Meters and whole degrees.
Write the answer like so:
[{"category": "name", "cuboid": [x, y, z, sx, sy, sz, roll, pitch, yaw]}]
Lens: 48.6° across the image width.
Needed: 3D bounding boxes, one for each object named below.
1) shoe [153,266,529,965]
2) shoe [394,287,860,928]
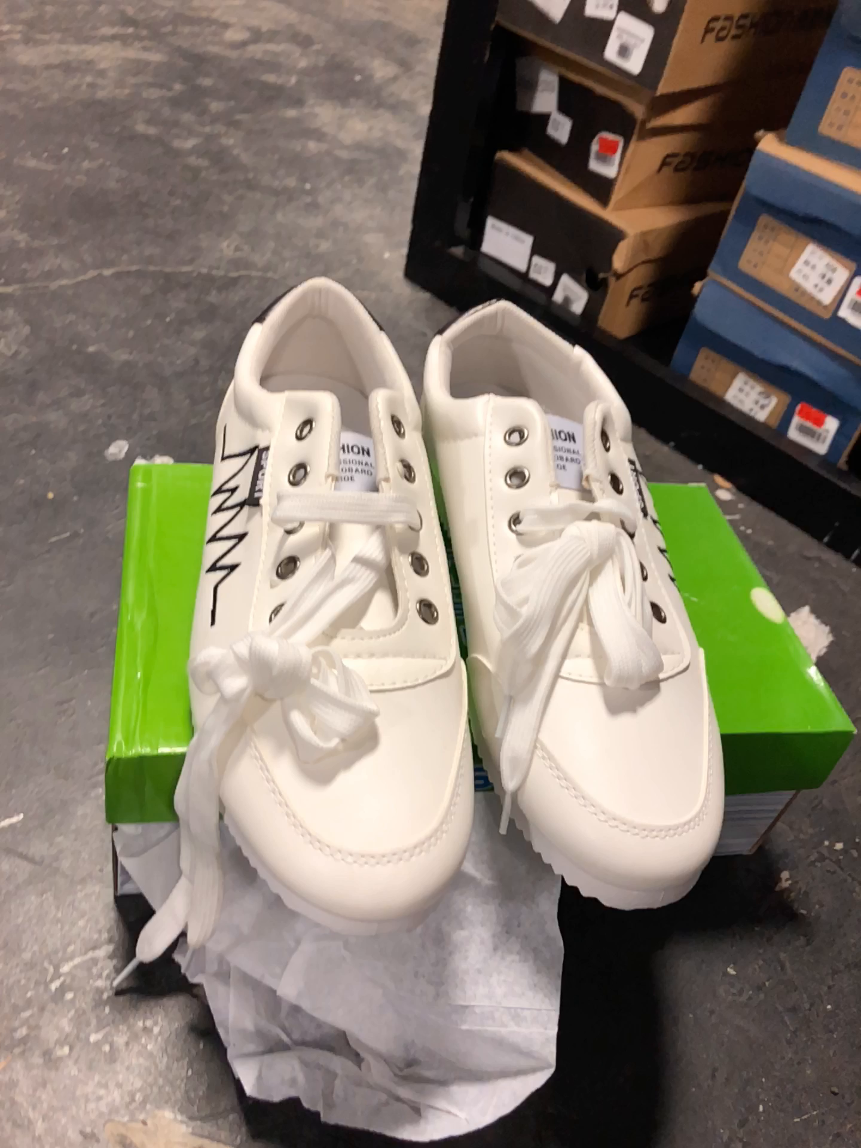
[{"category": "shoe", "cuboid": [-0.045, -0.015, 0.357, 0.090, 0.079, 0.282, -3, 43, -10]}, {"category": "shoe", "cuboid": [0.050, -0.014, 0.387, 0.090, 0.079, 0.282, -3, 43, -10]}]
